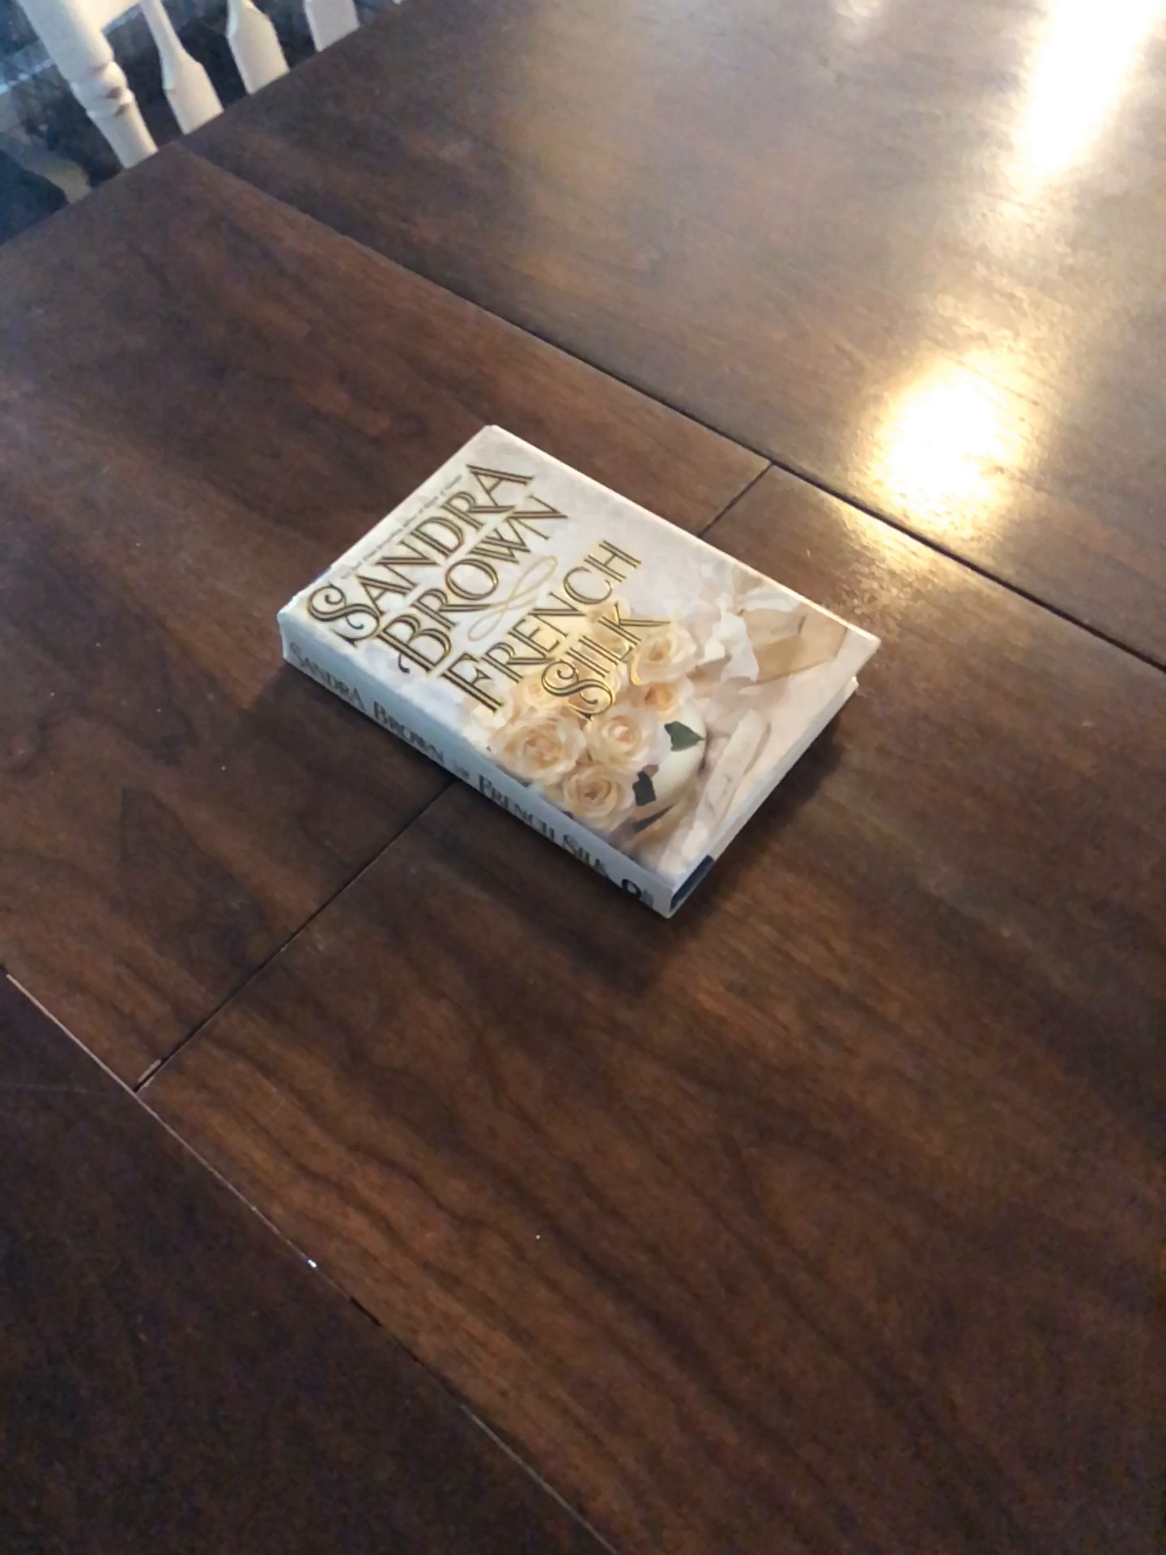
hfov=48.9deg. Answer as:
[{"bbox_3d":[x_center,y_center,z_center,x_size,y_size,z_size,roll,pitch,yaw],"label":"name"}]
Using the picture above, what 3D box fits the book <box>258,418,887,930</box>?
[{"bbox_3d":[-0.007,-0.060,0.601,0.240,0.033,0.161,33,65,20],"label":"book"}]
